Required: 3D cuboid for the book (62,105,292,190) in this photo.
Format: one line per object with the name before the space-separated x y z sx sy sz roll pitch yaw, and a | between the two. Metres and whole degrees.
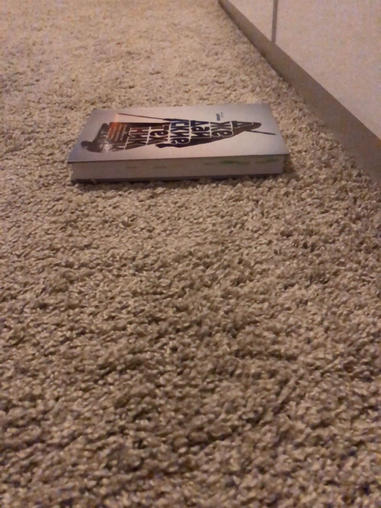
book | -0.013 -0.124 0.469 0.220 0.026 0.151 -2 38 2
